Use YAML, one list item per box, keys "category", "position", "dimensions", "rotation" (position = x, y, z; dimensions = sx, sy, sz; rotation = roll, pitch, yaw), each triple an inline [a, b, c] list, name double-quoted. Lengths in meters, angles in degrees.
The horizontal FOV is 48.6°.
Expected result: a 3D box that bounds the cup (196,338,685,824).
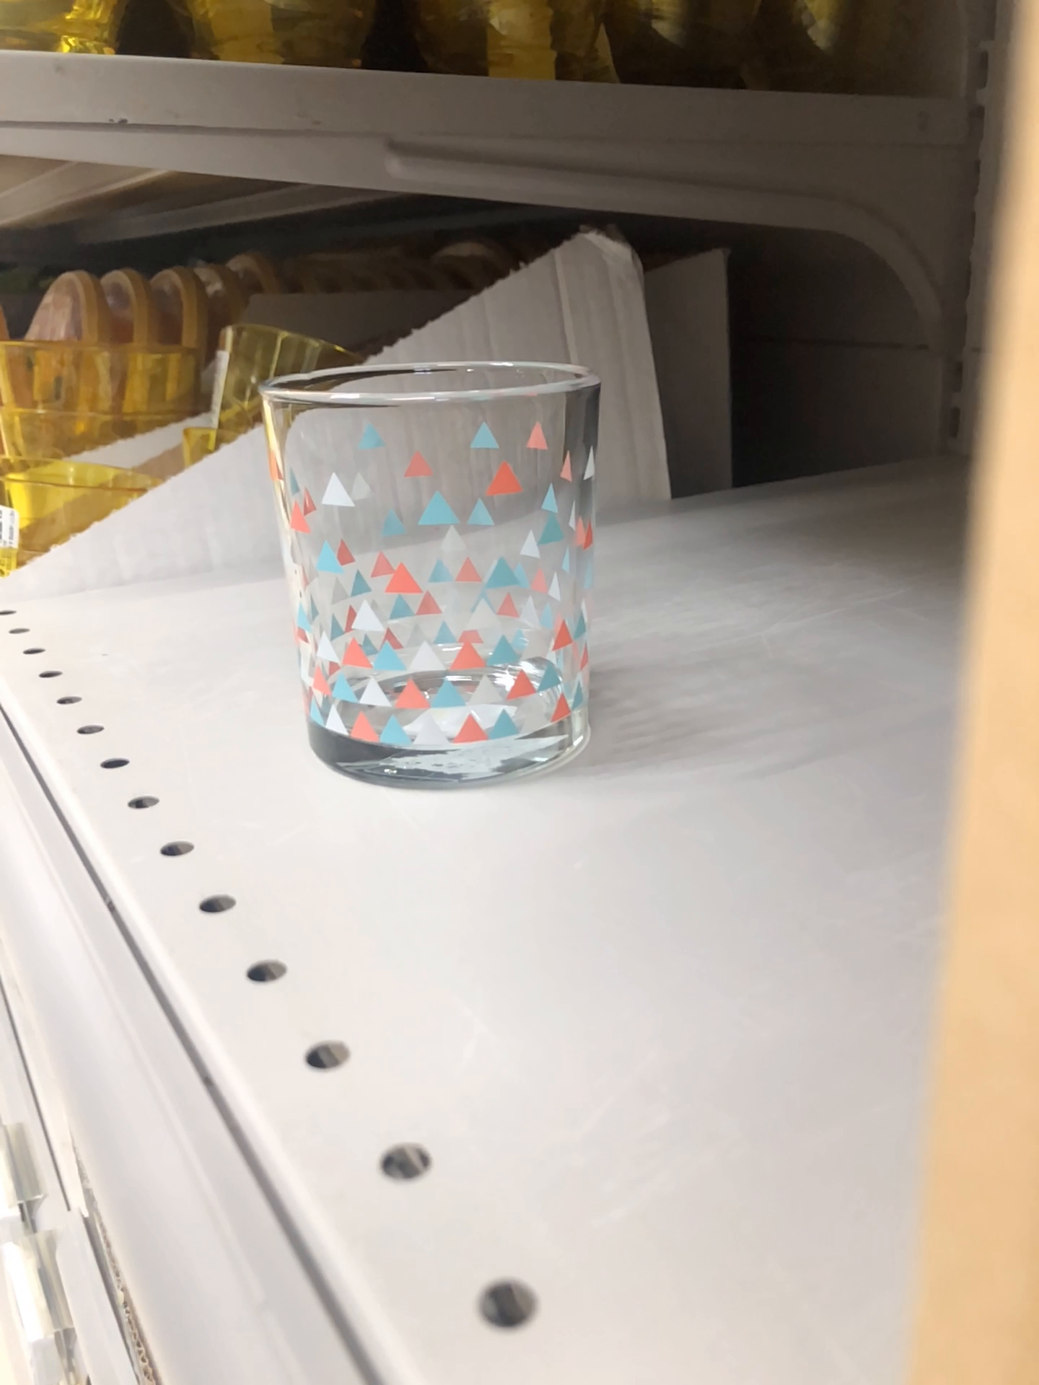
- category: "cup"
  position: [-0.018, -0.032, 0.252]
  dimensions: [0.077, 0.081, 0.076]
  rotation: [-2, 20, 1]
